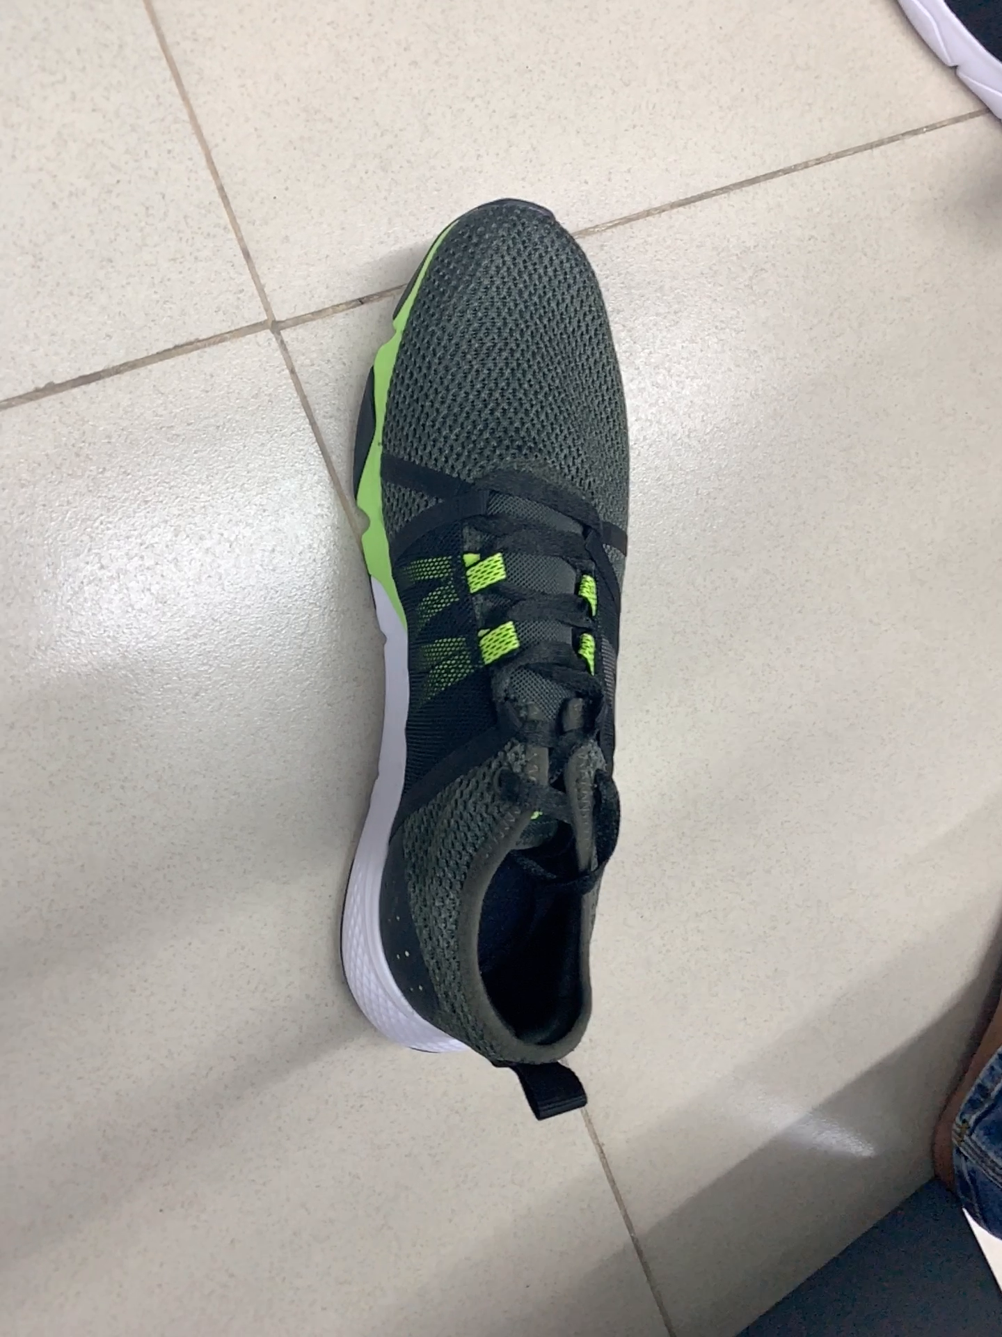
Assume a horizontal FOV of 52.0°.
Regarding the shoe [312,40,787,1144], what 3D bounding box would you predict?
[{"bbox_3d":[0.010,-0.018,0.347,0.110,0.100,0.300,2,92,-24],"label":"shoe"}]
